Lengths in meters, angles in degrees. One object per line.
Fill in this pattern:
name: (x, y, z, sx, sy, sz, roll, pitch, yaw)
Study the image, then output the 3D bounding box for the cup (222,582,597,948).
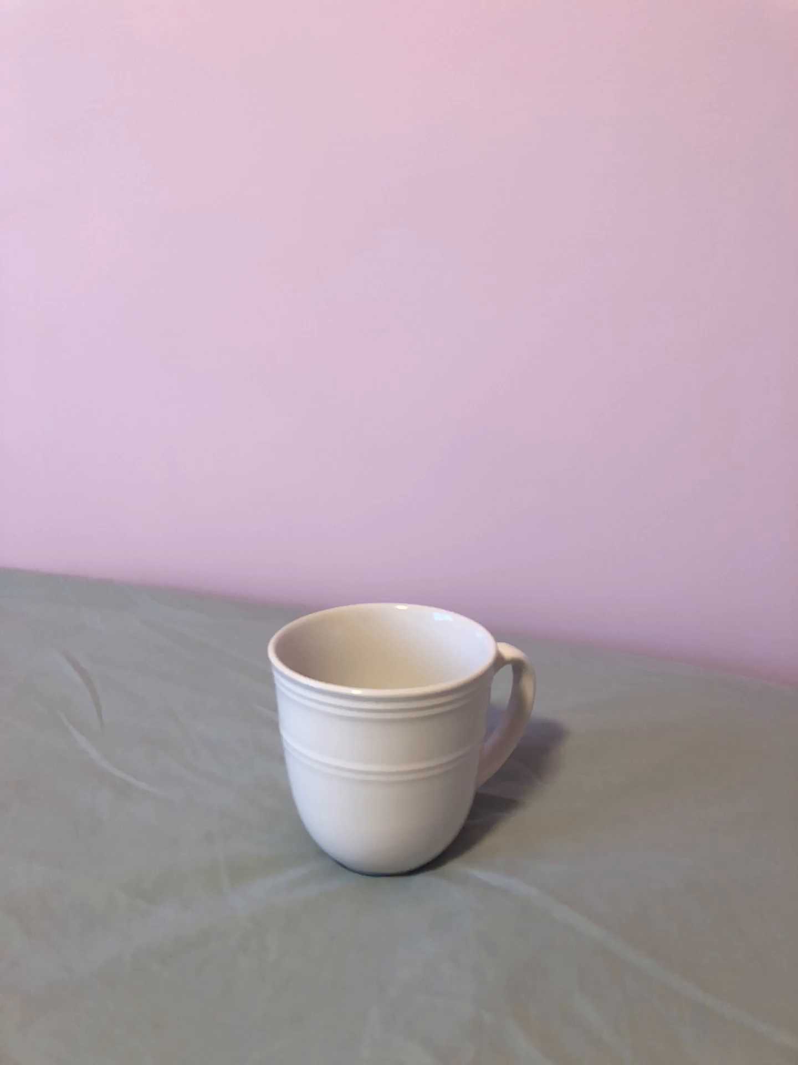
cup: (0.003, 0.097, 0.412, 0.140, 0.100, 0.100, -9, 18, -26)
